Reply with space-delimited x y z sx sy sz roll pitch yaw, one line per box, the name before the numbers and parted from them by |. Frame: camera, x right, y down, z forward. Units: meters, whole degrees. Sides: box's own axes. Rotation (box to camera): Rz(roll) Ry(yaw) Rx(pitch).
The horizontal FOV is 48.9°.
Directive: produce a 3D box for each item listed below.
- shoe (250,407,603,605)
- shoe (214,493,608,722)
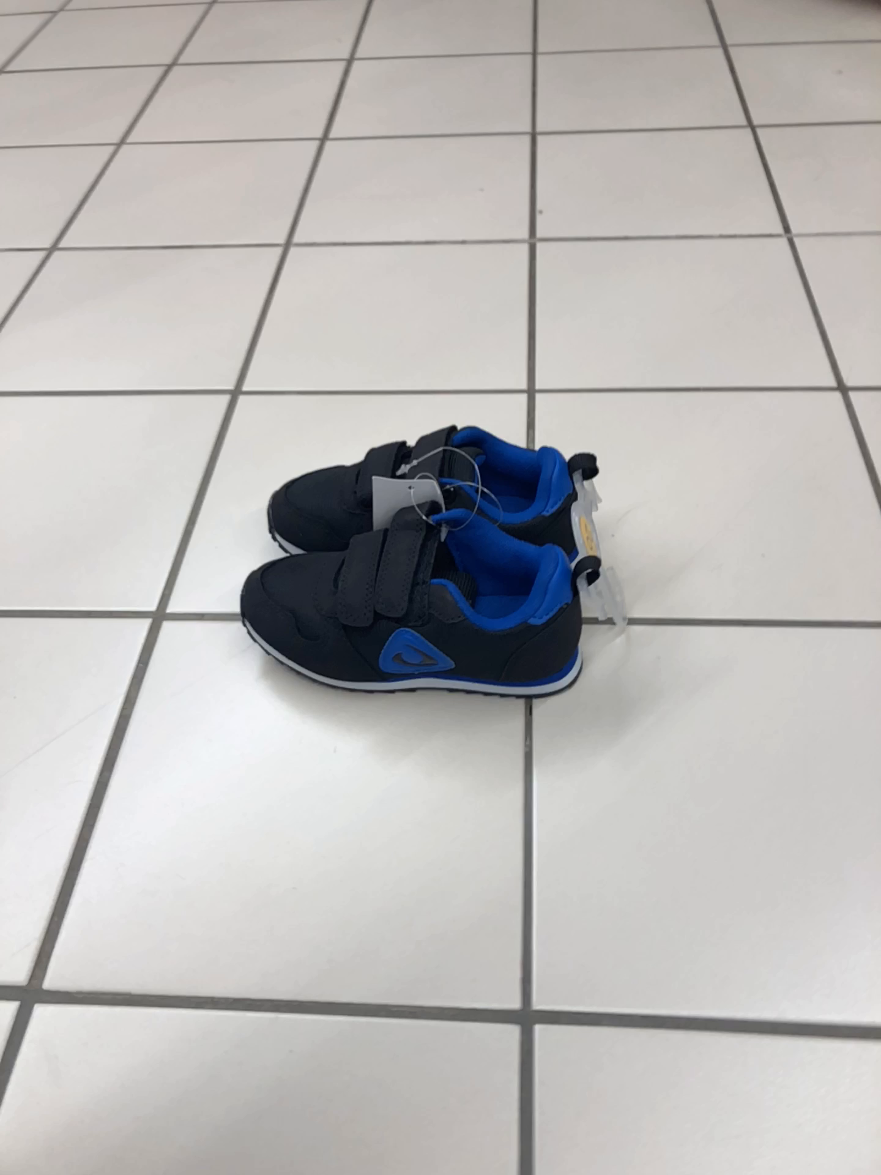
shoe | -0.003 -0.045 0.525 0.174 0.073 0.068 3 48 7
shoe | -0.010 0.009 0.476 0.174 0.073 0.068 4 48 8
